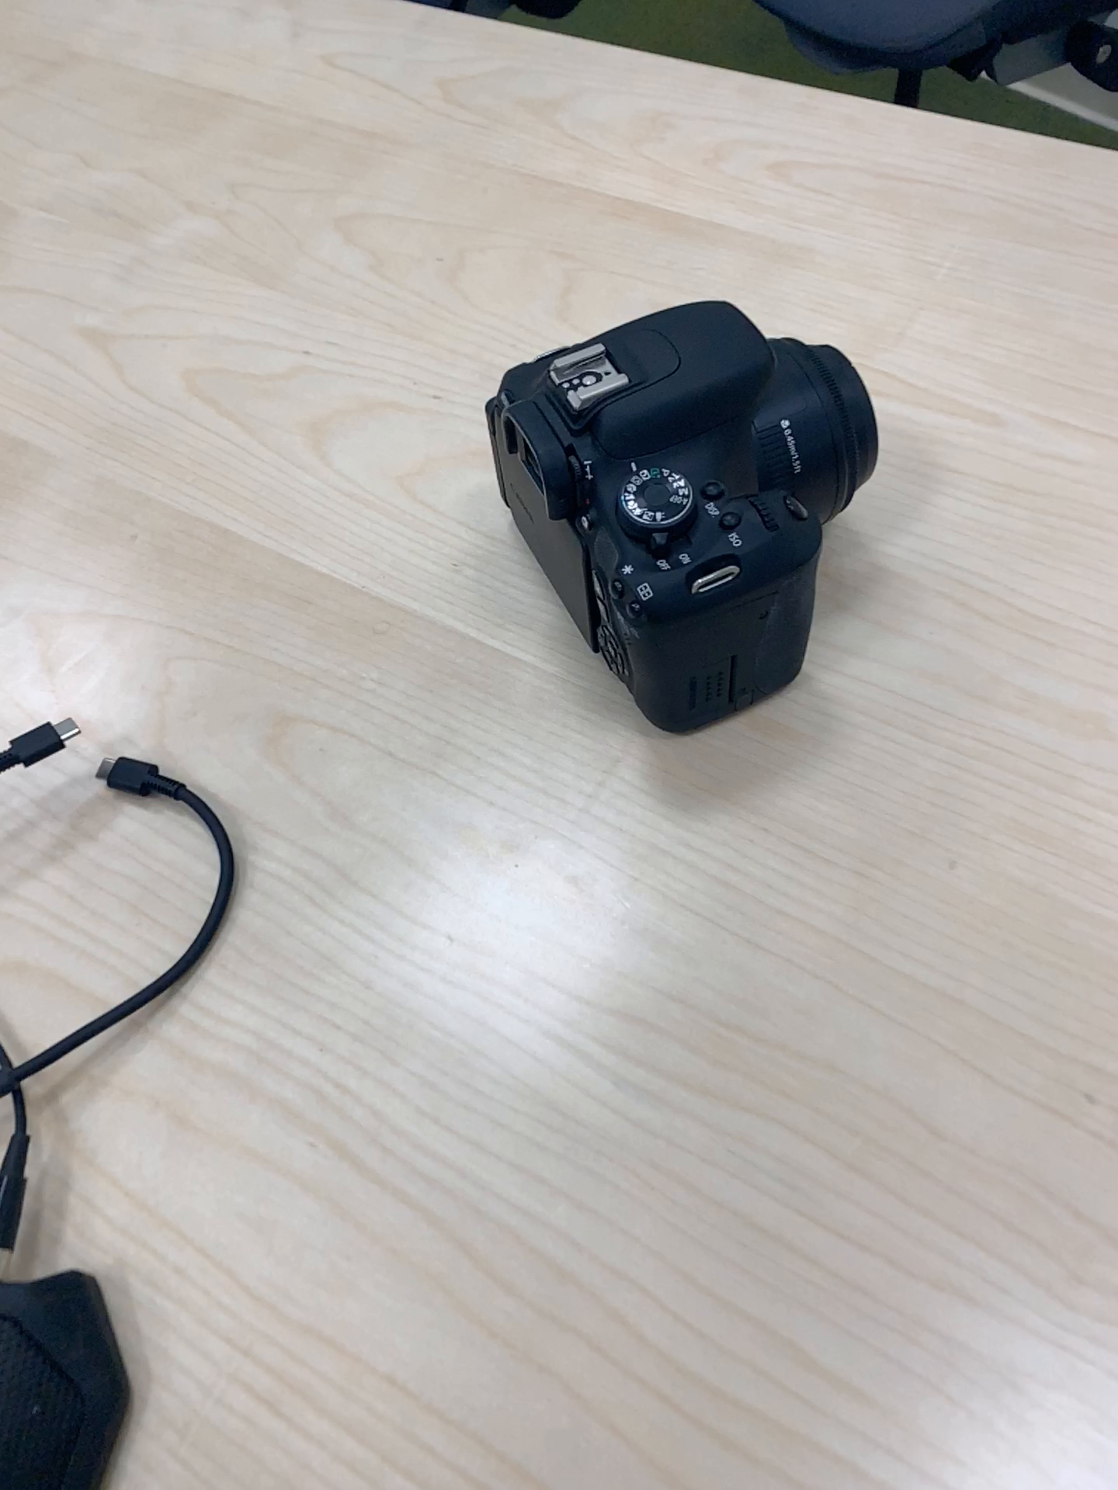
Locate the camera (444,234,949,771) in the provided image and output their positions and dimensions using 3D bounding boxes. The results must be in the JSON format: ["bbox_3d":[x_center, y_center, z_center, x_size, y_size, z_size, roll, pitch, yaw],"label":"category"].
[{"bbox_3d":[0.044,-0.089,0.420,0.118,0.100,0.130,-23,58,-8],"label":"camera"}]
